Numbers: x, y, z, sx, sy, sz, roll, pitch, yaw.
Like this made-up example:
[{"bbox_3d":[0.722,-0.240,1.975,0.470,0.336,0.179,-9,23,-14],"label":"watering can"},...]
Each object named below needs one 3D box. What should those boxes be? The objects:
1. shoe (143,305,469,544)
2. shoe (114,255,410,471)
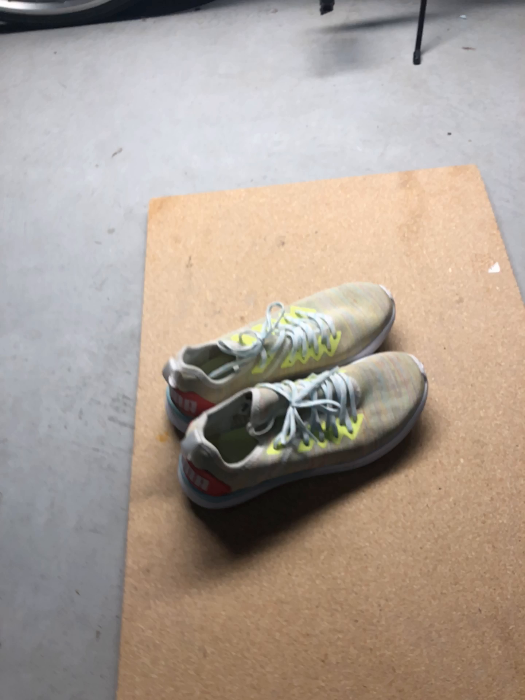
[{"bbox_3d":[0.046,0.071,0.598,0.300,0.100,0.100,-21,53,-14],"label":"shoe"},{"bbox_3d":[0.002,0.009,0.664,0.300,0.100,0.110,-21,53,-14],"label":"shoe"}]
